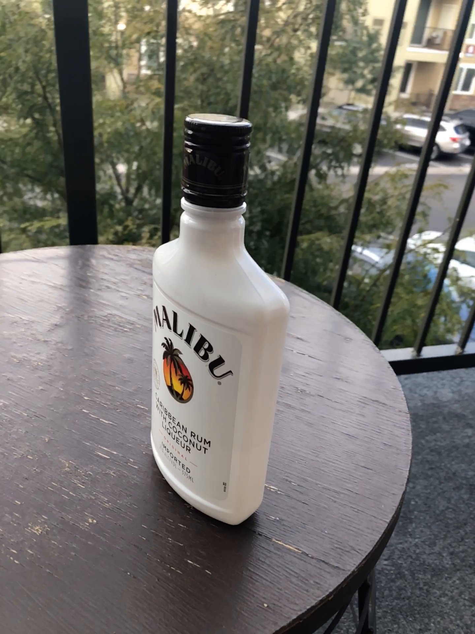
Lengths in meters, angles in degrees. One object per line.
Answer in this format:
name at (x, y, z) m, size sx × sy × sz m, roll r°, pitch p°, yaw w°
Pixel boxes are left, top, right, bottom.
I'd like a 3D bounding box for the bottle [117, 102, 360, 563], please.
bottle at (-0.013, 0.012, 0.270) m, size 0.045 × 0.210 × 0.100 m, roll -21°, pitch 40°, yaw -37°
